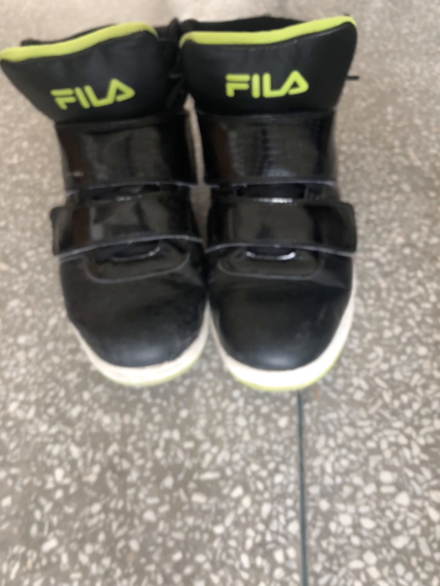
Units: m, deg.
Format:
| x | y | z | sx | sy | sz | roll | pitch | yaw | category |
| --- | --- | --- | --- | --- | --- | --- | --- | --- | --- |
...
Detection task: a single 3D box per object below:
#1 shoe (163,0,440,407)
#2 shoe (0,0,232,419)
| x | y | z | sx | sy | sz | roll | pitch | yaw | category |
| --- | --- | --- | --- | --- | --- | --- | --- | --- | --- |
| 0.040 | -0.076 | 0.325 | 0.120 | 0.147 | 0.250 | -3 | 54 | 2 | shoe |
| -0.073 | -0.075 | 0.357 | 0.120 | 0.147 | 0.270 | -8 | 54 | -2 | shoe |
